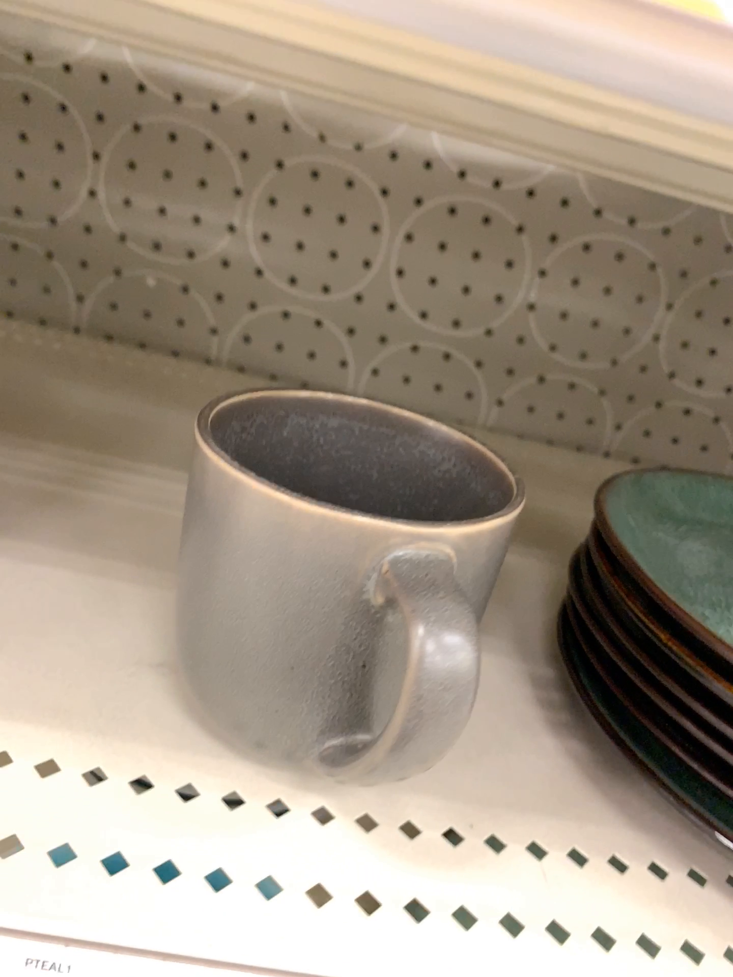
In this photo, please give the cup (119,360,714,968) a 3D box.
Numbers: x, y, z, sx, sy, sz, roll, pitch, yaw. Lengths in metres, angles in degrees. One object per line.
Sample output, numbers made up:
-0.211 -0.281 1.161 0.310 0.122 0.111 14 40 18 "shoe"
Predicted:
-0.005 0.031 0.210 0.100 0.080 0.130 3 27 -26 "cup"
